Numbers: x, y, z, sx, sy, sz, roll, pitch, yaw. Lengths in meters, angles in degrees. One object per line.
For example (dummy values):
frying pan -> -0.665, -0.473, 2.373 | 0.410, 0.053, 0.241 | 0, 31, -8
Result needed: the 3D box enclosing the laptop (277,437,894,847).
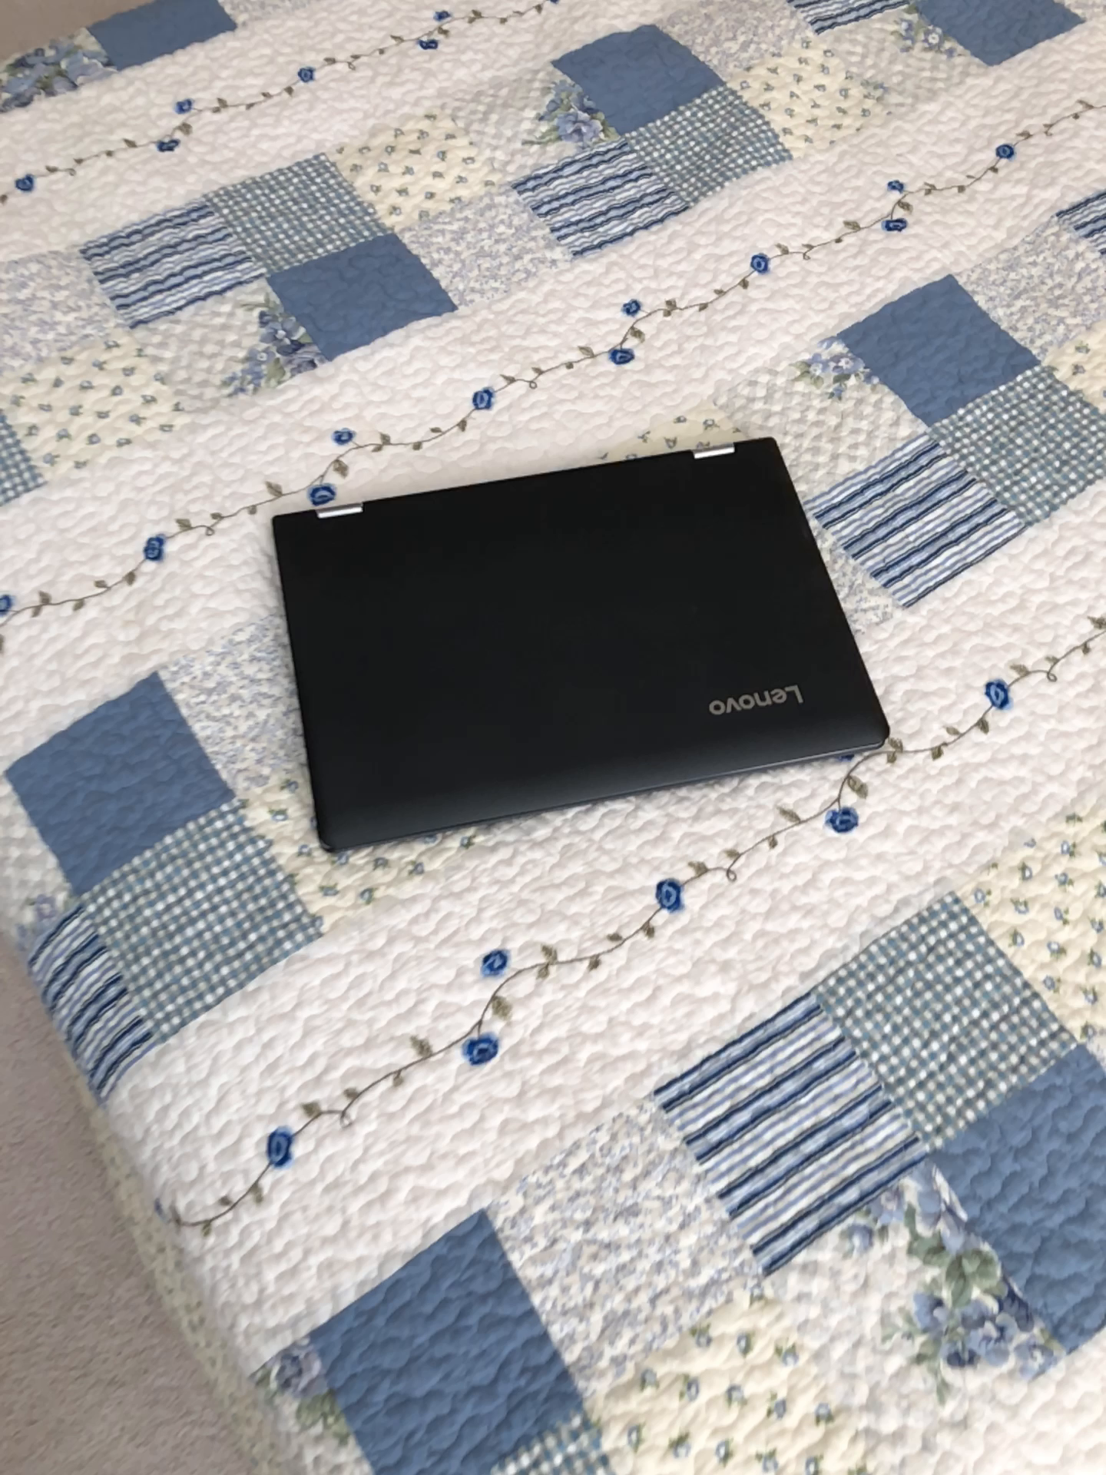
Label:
laptop -> 0.011, -0.068, 0.718 | 0.320, 0.008, 0.224 | -11, 61, -7
